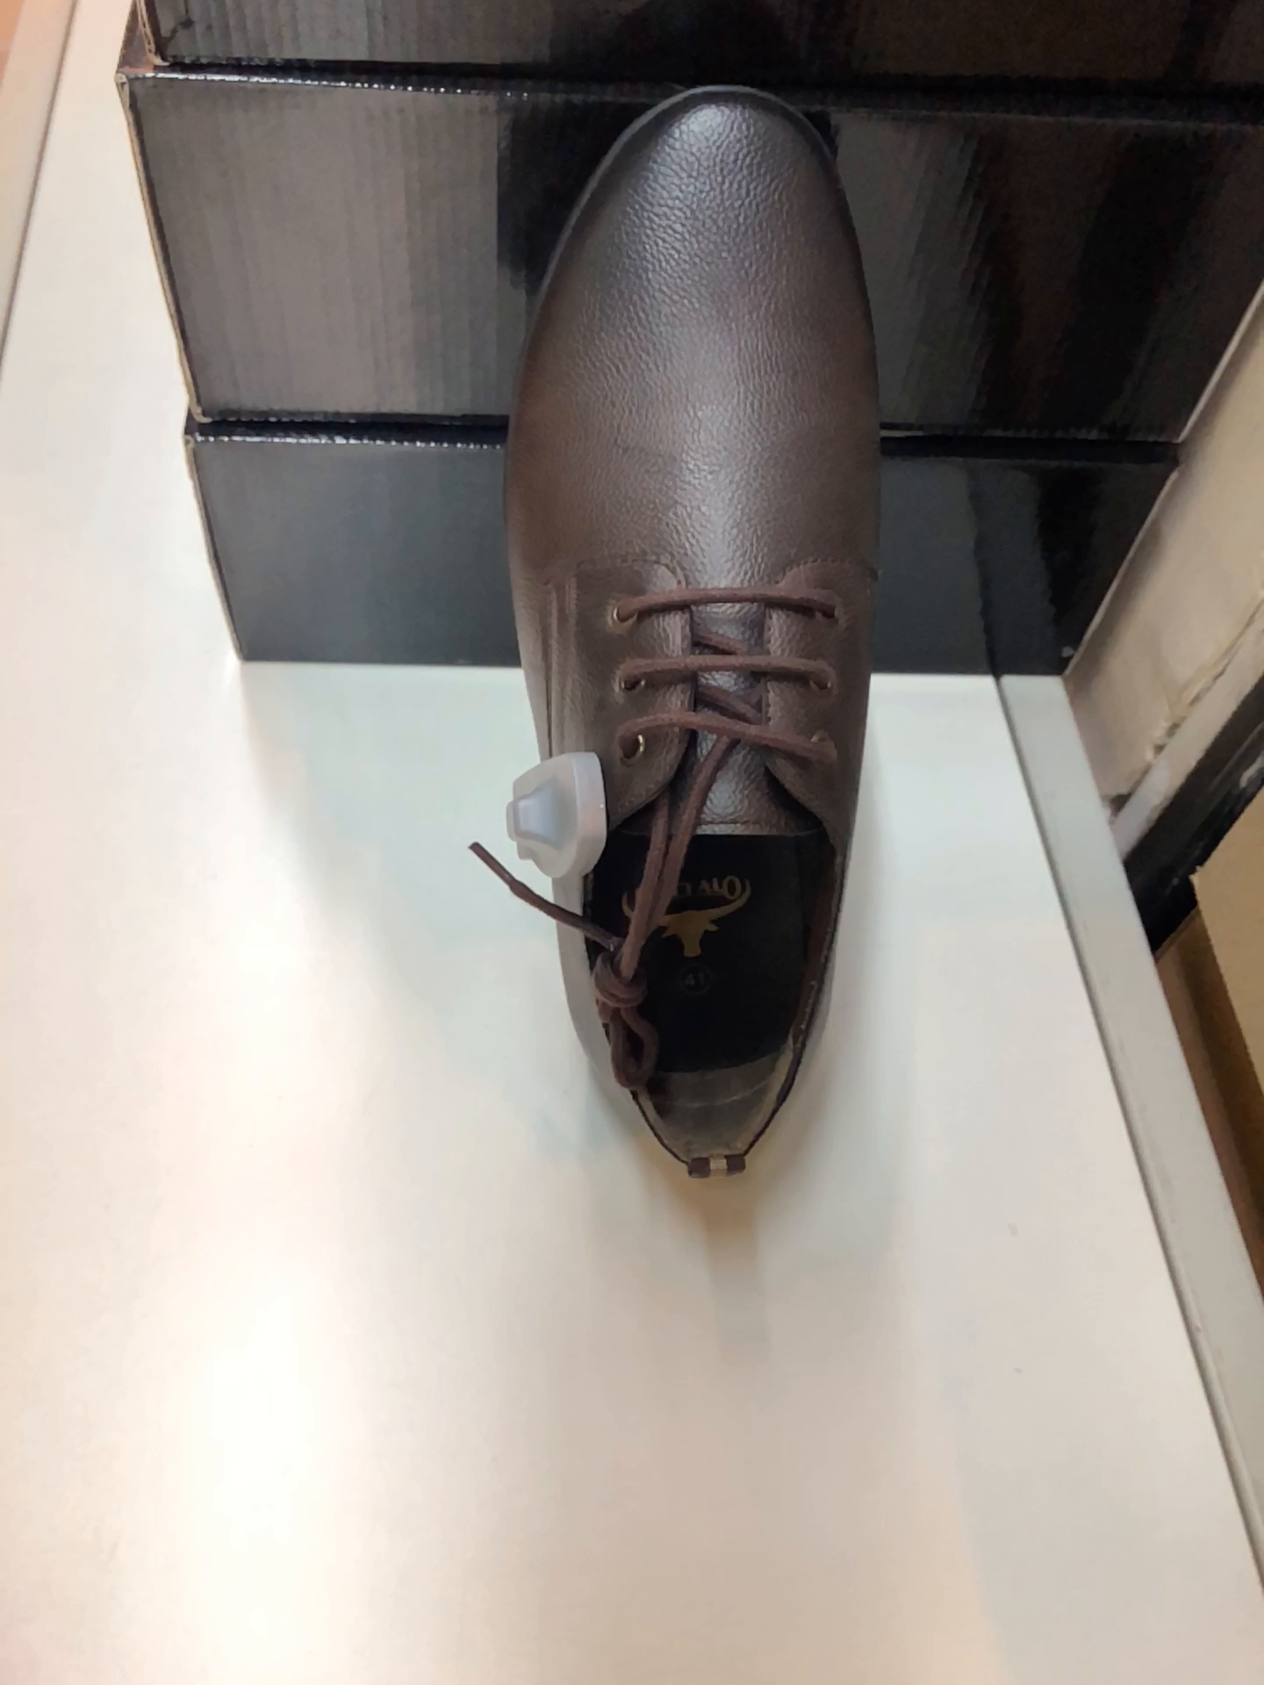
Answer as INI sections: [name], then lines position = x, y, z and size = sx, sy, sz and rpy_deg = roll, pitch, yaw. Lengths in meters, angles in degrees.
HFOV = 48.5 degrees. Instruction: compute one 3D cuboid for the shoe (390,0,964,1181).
[shoe]
position = 0.011, -0.065, 0.361
size = 0.111, 0.271, 0.116
rpy_deg = -1, 15, 0
